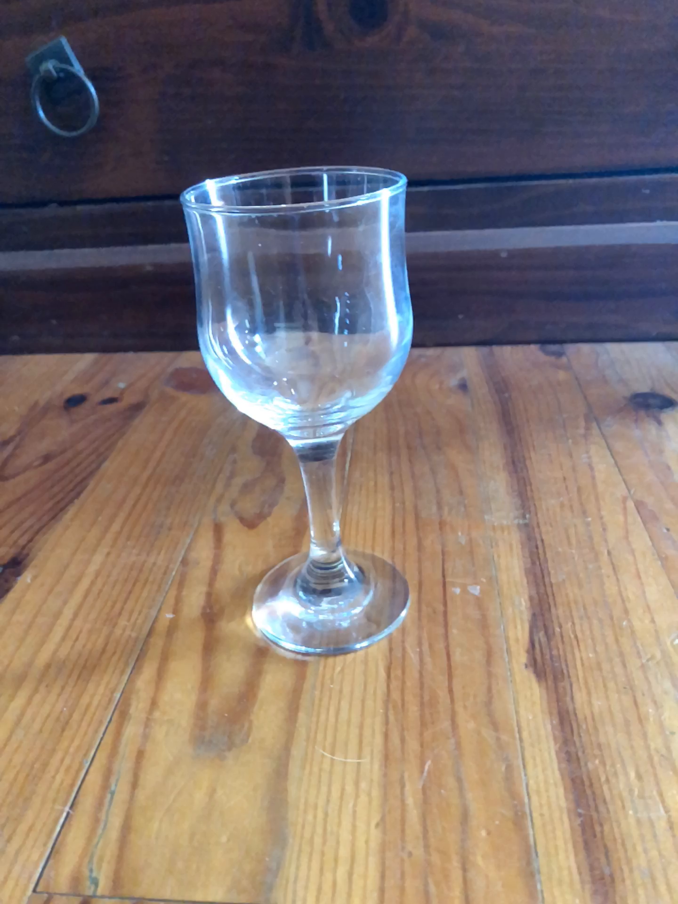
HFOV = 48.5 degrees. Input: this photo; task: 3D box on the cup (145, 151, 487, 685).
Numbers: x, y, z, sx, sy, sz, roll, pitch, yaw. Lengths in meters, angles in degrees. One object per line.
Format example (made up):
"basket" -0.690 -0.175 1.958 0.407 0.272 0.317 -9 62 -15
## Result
"cup" -0.005 -0.015 0.267 0.082 0.157 0.077 -4 28 2
